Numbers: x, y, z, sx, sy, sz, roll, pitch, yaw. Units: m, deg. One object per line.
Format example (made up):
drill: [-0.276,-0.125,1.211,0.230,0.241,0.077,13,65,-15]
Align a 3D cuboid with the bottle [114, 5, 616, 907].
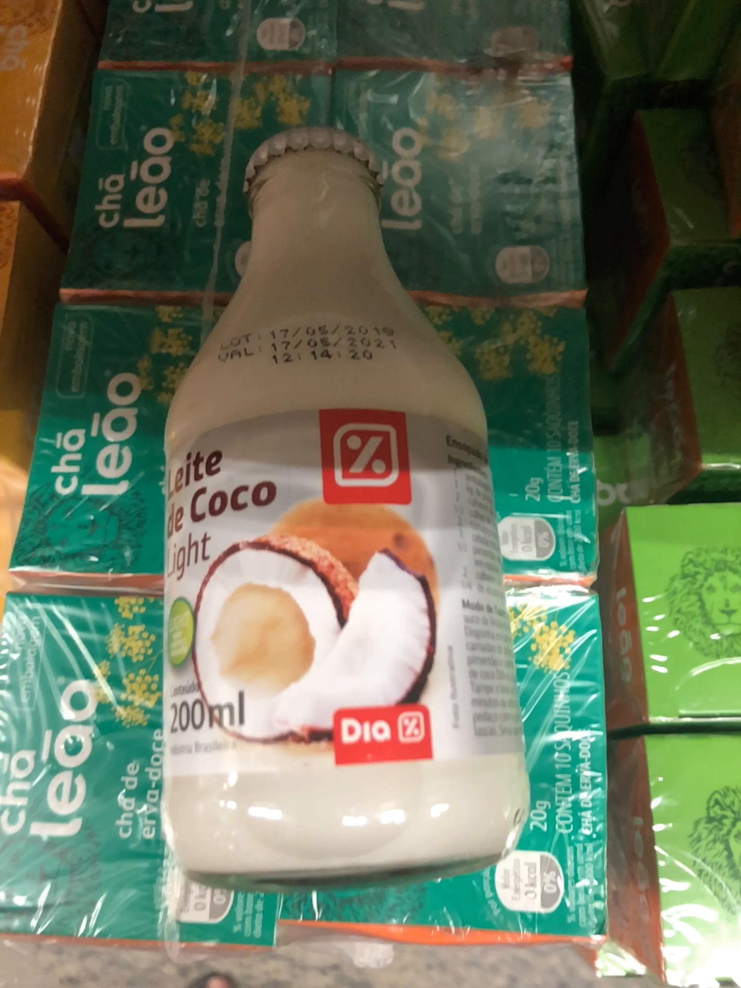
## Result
bottle: [-0.003,-0.012,0.165,0.070,0.050,0.160,-2,72,0]
